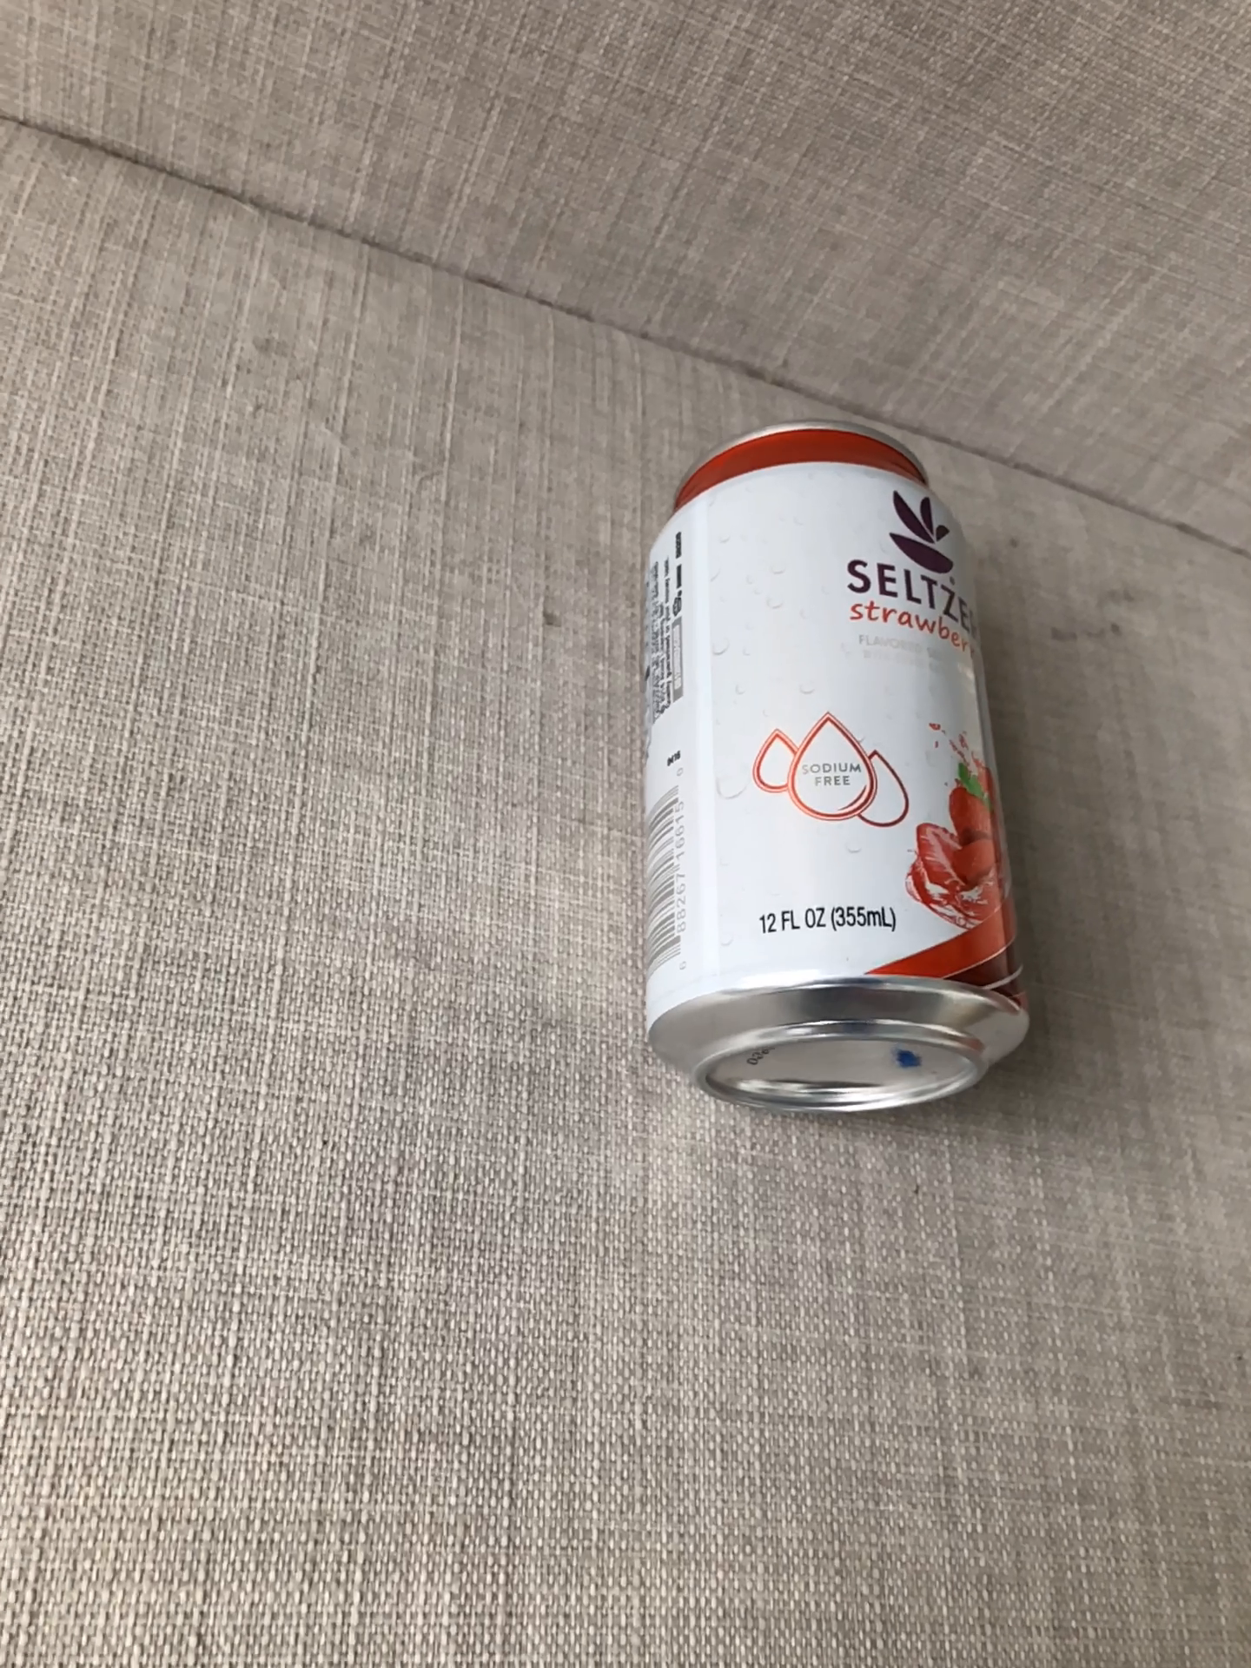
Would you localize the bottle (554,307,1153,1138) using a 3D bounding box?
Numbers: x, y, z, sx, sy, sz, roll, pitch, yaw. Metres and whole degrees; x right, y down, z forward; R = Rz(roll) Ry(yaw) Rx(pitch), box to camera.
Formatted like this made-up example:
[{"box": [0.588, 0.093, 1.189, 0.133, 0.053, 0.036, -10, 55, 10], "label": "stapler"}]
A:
[{"box": [0.035, -0.015, 0.253, 0.070, 0.069, 0.121, 12, 64, -23], "label": "bottle"}]
